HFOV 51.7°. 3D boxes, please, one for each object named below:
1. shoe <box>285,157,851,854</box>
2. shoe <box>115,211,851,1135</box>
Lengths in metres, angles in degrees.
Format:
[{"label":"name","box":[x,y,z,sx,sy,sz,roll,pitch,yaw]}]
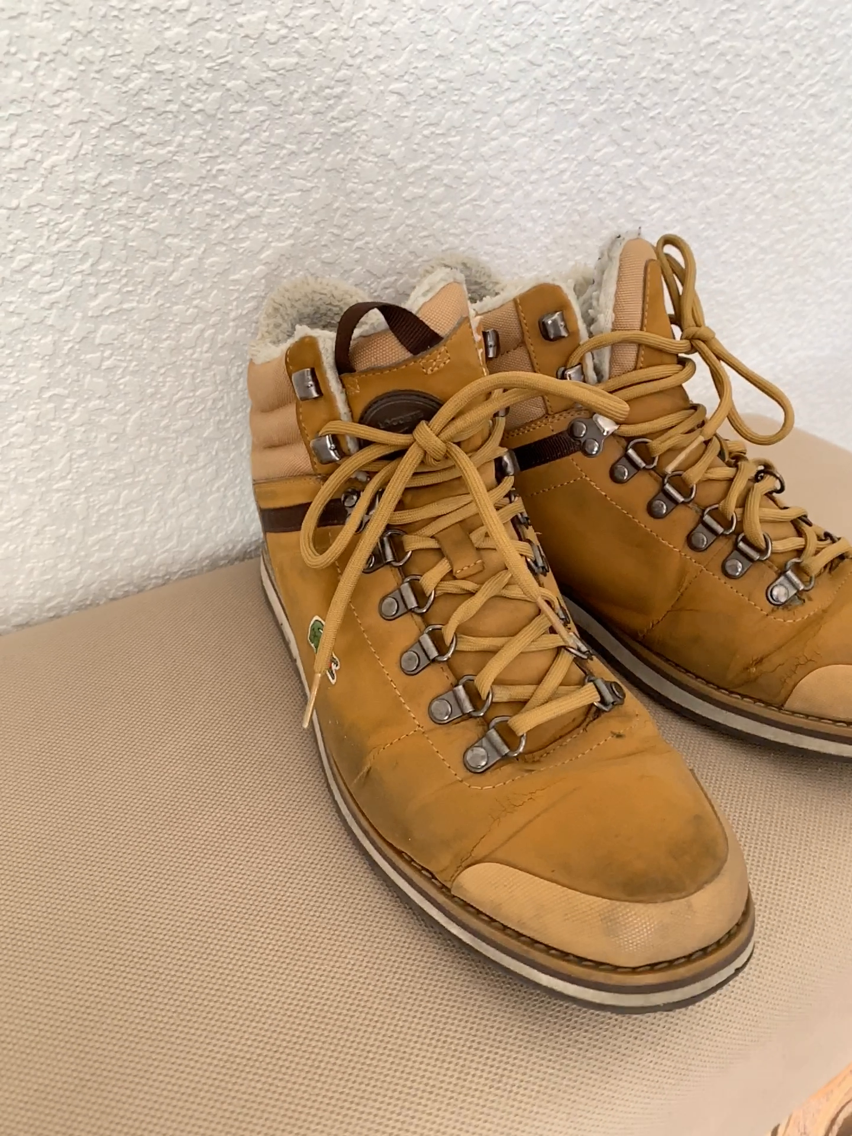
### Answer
[{"label":"shoe","box":[0.087,-0.053,0.375,0.301,0.149,0.120,33,48,31]},{"label":"shoe","box":[-0.004,-0.004,0.315,0.120,0.149,0.301,-16,41,-22]}]
